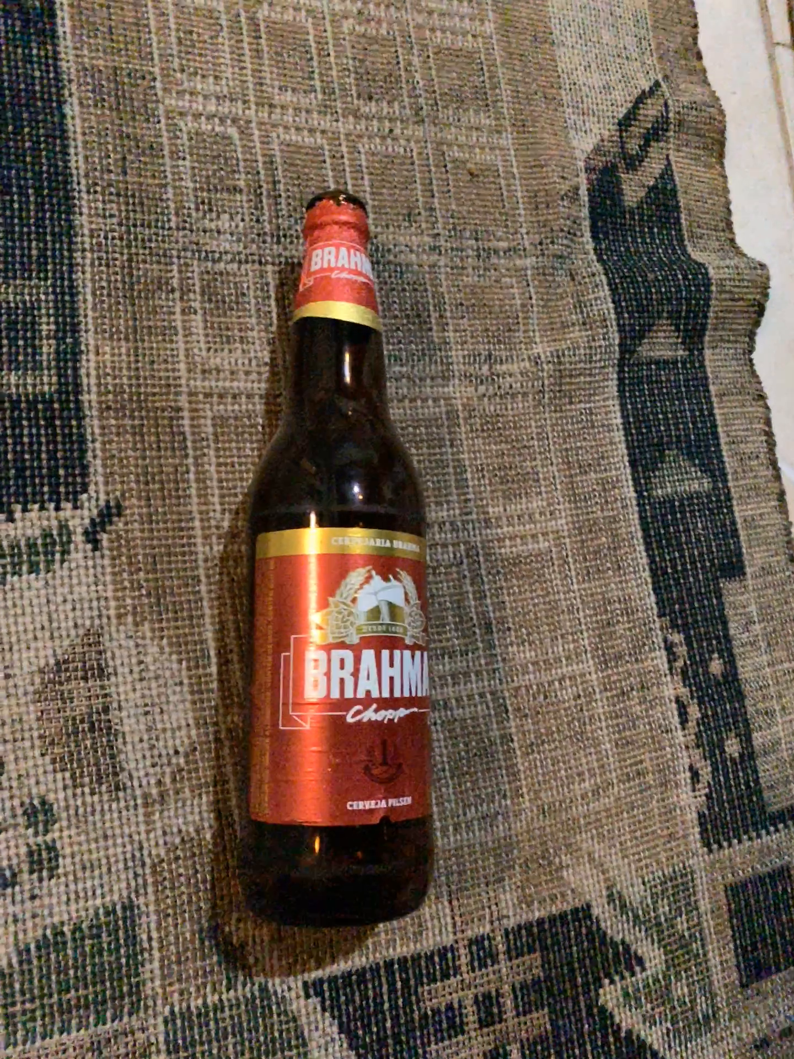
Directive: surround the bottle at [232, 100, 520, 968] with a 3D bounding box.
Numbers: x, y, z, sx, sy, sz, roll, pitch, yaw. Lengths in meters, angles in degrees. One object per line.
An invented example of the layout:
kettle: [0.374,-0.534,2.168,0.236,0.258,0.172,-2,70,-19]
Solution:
bottle: [-0.012,-0.005,0.303,0.080,0.060,0.280,4,78,-25]
